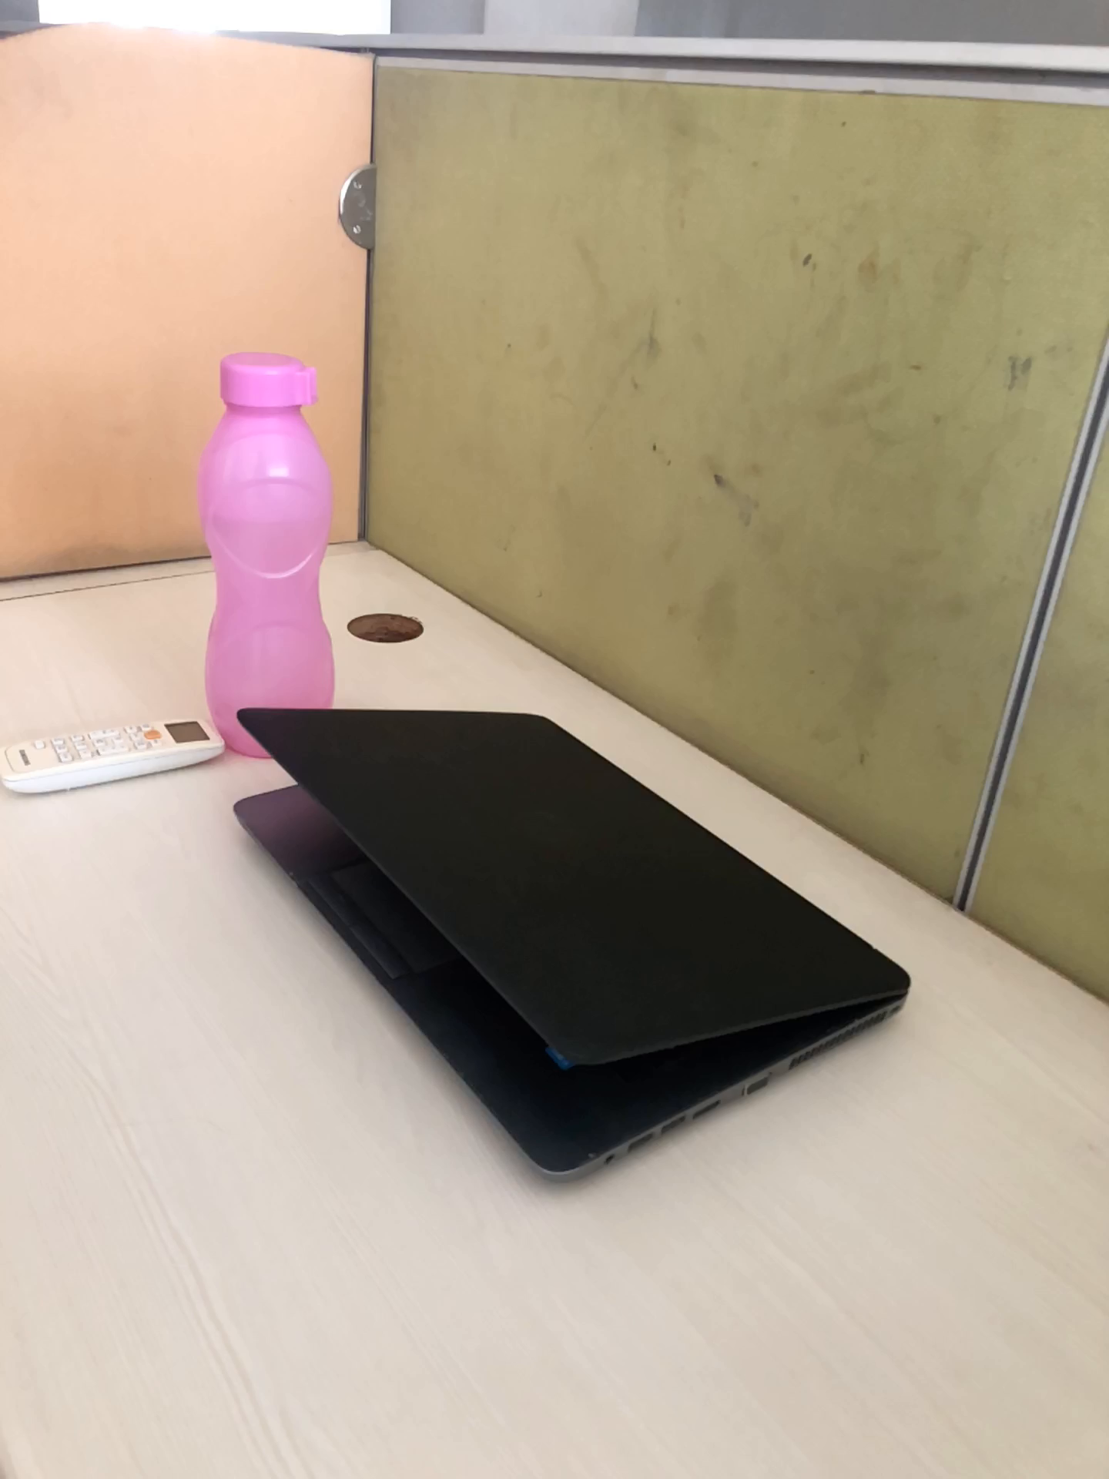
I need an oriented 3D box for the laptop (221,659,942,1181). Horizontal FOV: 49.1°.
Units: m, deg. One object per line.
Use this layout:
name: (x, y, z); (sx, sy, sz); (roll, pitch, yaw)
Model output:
laptop: (-0.006, 0.061, 0.651); (0.226, 0.050, 0.331); (-15, 33, -32)
